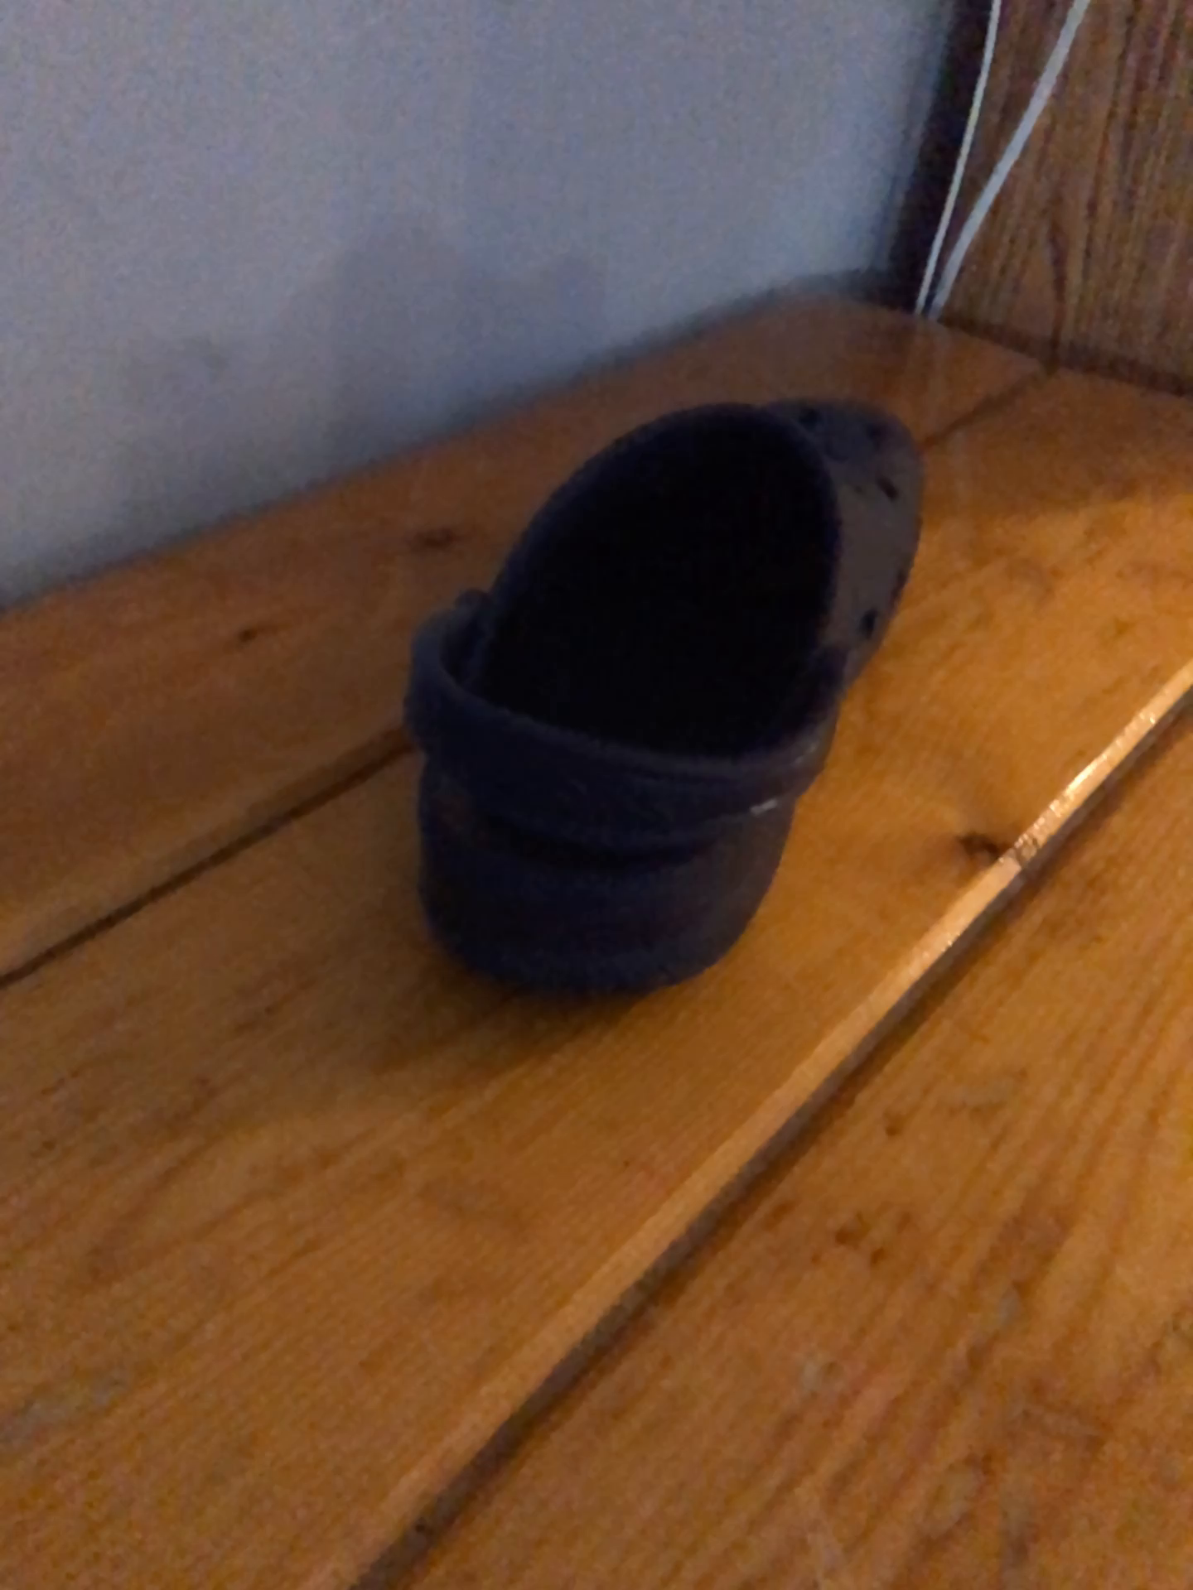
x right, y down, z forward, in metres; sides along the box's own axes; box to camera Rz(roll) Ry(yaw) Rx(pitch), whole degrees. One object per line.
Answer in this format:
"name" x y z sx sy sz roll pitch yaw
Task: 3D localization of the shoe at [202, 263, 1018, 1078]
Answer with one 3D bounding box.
"shoe" 0.028 -0.068 0.400 0.130 0.080 0.291 18 41 15
